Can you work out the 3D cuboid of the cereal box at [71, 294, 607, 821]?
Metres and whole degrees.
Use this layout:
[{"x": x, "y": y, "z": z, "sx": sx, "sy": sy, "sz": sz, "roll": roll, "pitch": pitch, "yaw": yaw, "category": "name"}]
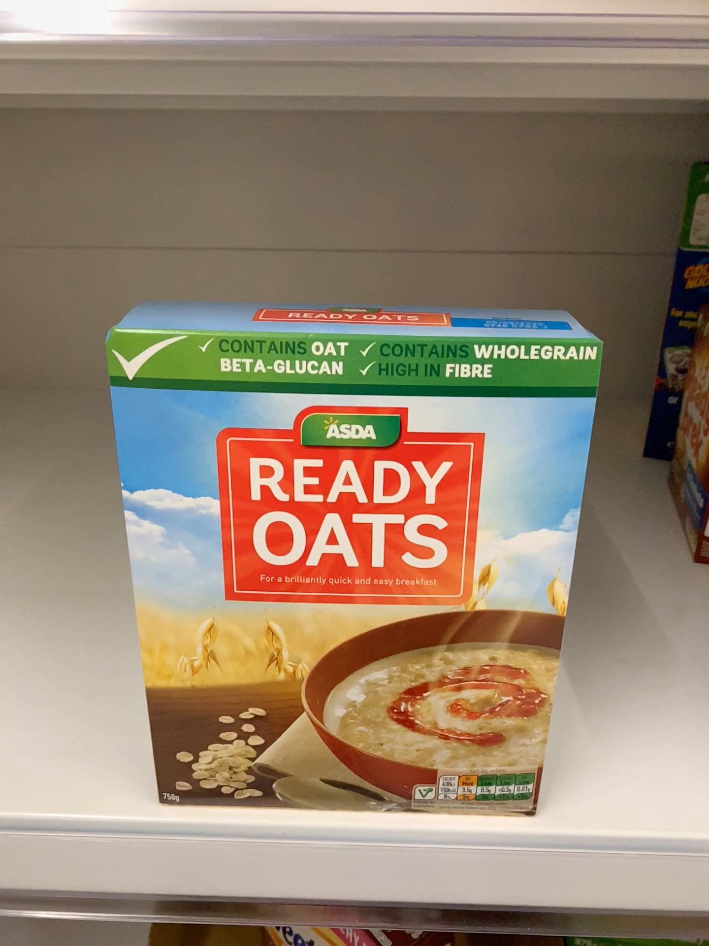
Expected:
[{"x": -0.007, "y": 0.049, "z": 0.370, "sx": 0.210, "sy": 0.258, "sz": 0.071, "roll": 1, "pitch": 23, "yaw": 1, "category": "cereal box"}]
